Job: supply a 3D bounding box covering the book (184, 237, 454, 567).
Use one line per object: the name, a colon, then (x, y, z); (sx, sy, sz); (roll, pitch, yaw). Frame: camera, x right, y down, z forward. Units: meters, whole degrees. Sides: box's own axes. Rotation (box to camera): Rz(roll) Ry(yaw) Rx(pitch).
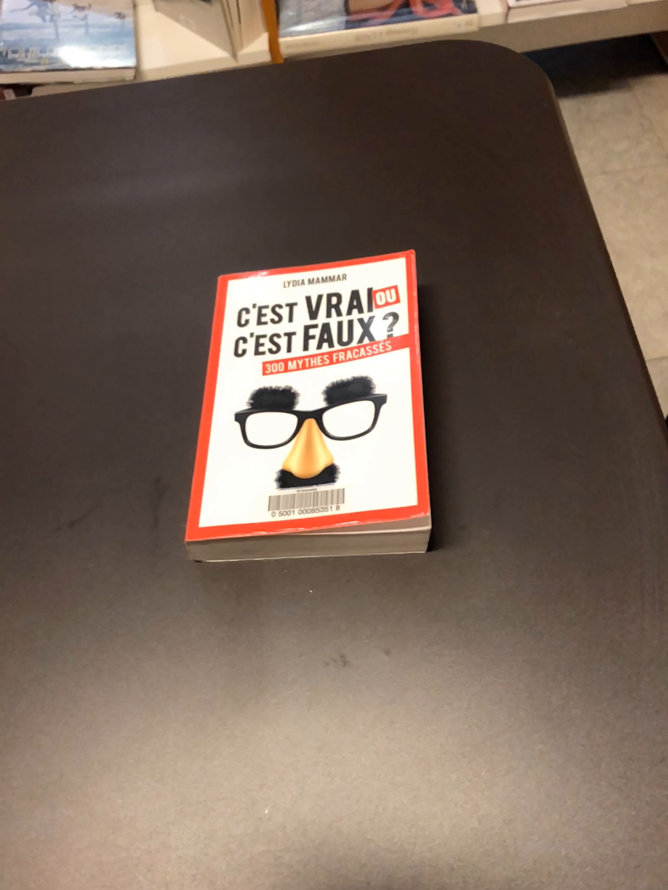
book: (-0.005, -0.029, 0.407); (0.126, 0.034, 0.185); (-5, 58, 10)
